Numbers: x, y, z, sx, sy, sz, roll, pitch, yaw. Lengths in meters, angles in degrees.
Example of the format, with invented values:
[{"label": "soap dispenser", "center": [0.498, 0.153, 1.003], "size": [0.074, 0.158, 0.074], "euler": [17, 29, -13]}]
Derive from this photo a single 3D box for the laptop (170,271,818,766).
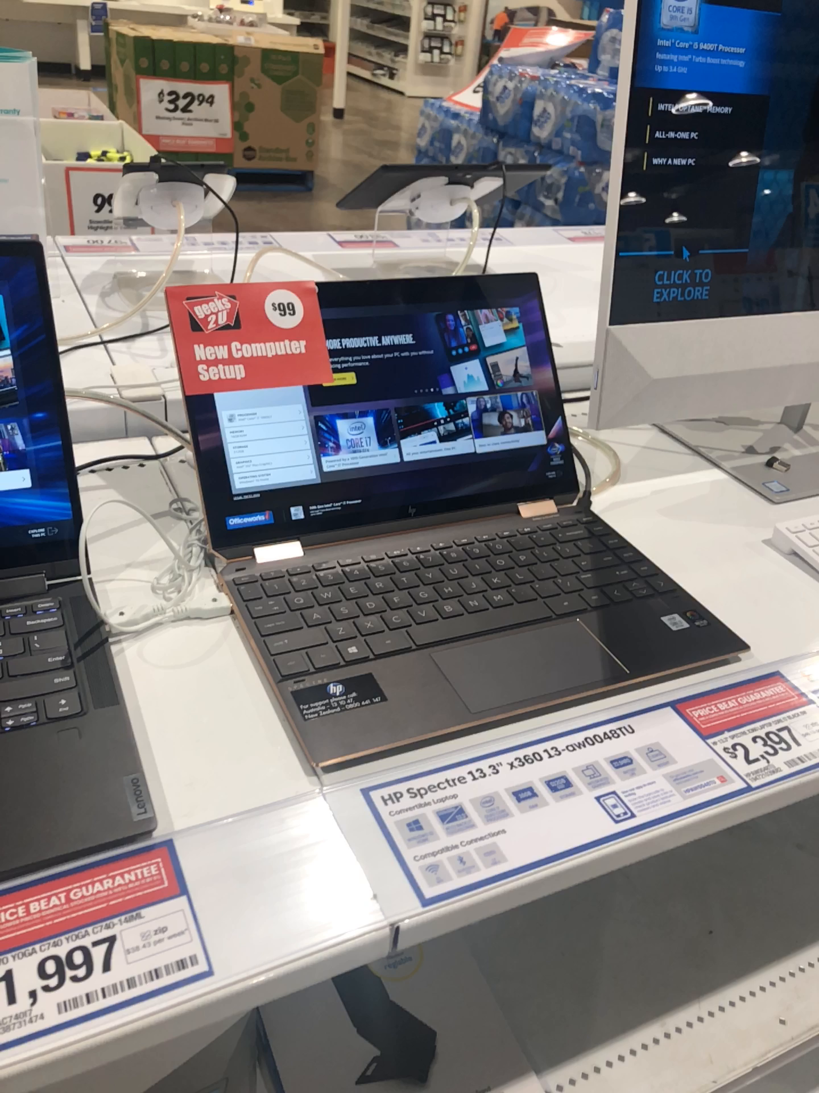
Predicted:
[{"label": "laptop", "center": [0.029, -0.056, 0.599], "size": [0.298, 0.147, 0.315], "euler": [-9, 36, -23]}]
